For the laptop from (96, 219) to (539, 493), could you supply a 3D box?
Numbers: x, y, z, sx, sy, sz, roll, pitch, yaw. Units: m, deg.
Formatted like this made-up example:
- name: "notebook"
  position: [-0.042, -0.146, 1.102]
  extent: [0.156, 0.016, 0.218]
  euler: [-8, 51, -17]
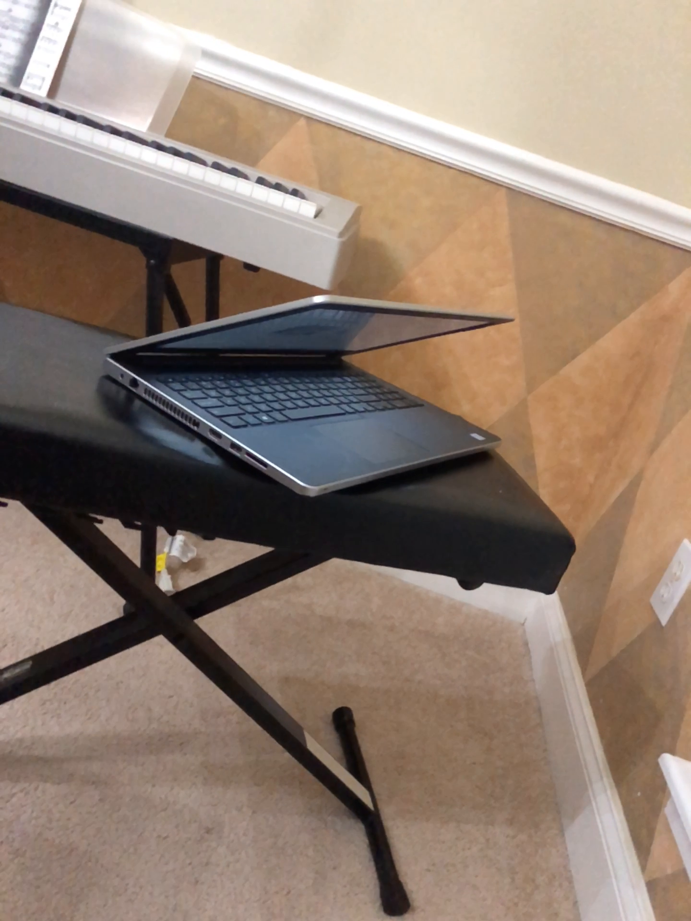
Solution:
- name: "laptop"
  position: [-0.006, -0.116, 0.781]
  extent: [0.256, 0.132, 0.377]
  euler: [31, 23, 26]
